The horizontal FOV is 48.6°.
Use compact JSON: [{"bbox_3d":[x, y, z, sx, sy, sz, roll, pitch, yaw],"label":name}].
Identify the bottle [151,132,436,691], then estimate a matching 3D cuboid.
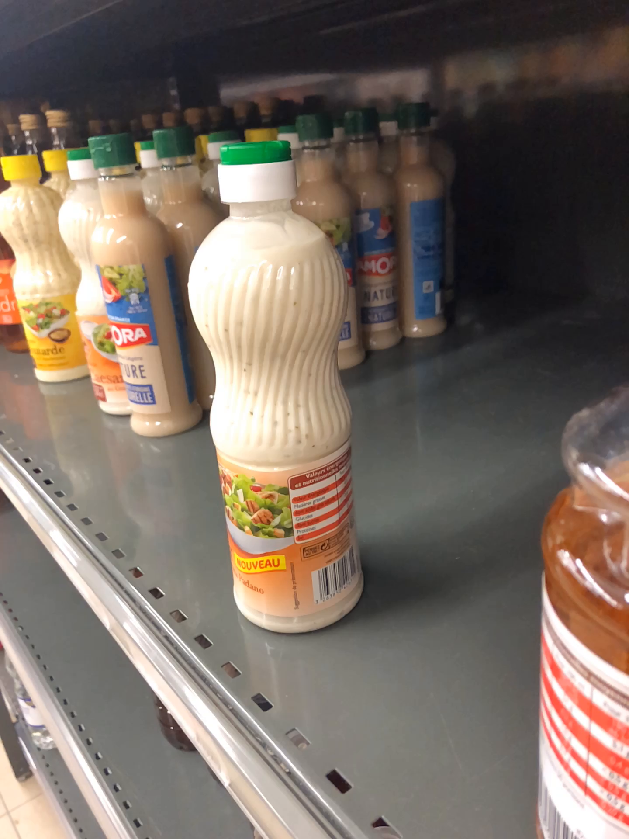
[{"bbox_3d":[-0.003,-0.006,0.324,0.080,0.229,0.080,-4,22,2],"label":"bottle"}]
